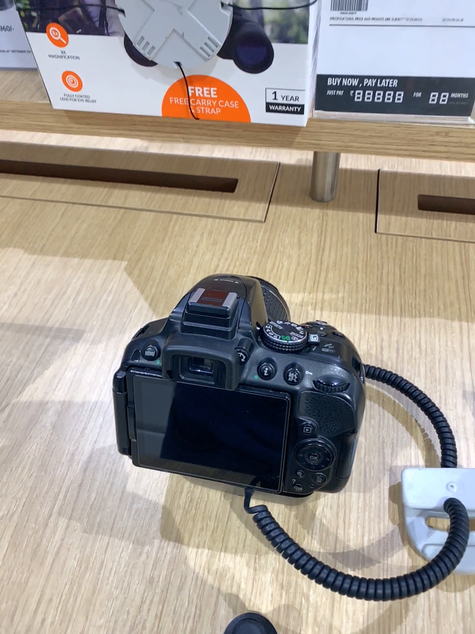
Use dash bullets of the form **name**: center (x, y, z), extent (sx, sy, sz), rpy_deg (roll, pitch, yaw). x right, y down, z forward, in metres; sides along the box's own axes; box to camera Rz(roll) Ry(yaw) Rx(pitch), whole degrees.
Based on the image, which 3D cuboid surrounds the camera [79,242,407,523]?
- **camera**: center (0.008, 0.023, 0.257), extent (0.130, 0.080, 0.110), rpy_deg (7, 28, 9)
